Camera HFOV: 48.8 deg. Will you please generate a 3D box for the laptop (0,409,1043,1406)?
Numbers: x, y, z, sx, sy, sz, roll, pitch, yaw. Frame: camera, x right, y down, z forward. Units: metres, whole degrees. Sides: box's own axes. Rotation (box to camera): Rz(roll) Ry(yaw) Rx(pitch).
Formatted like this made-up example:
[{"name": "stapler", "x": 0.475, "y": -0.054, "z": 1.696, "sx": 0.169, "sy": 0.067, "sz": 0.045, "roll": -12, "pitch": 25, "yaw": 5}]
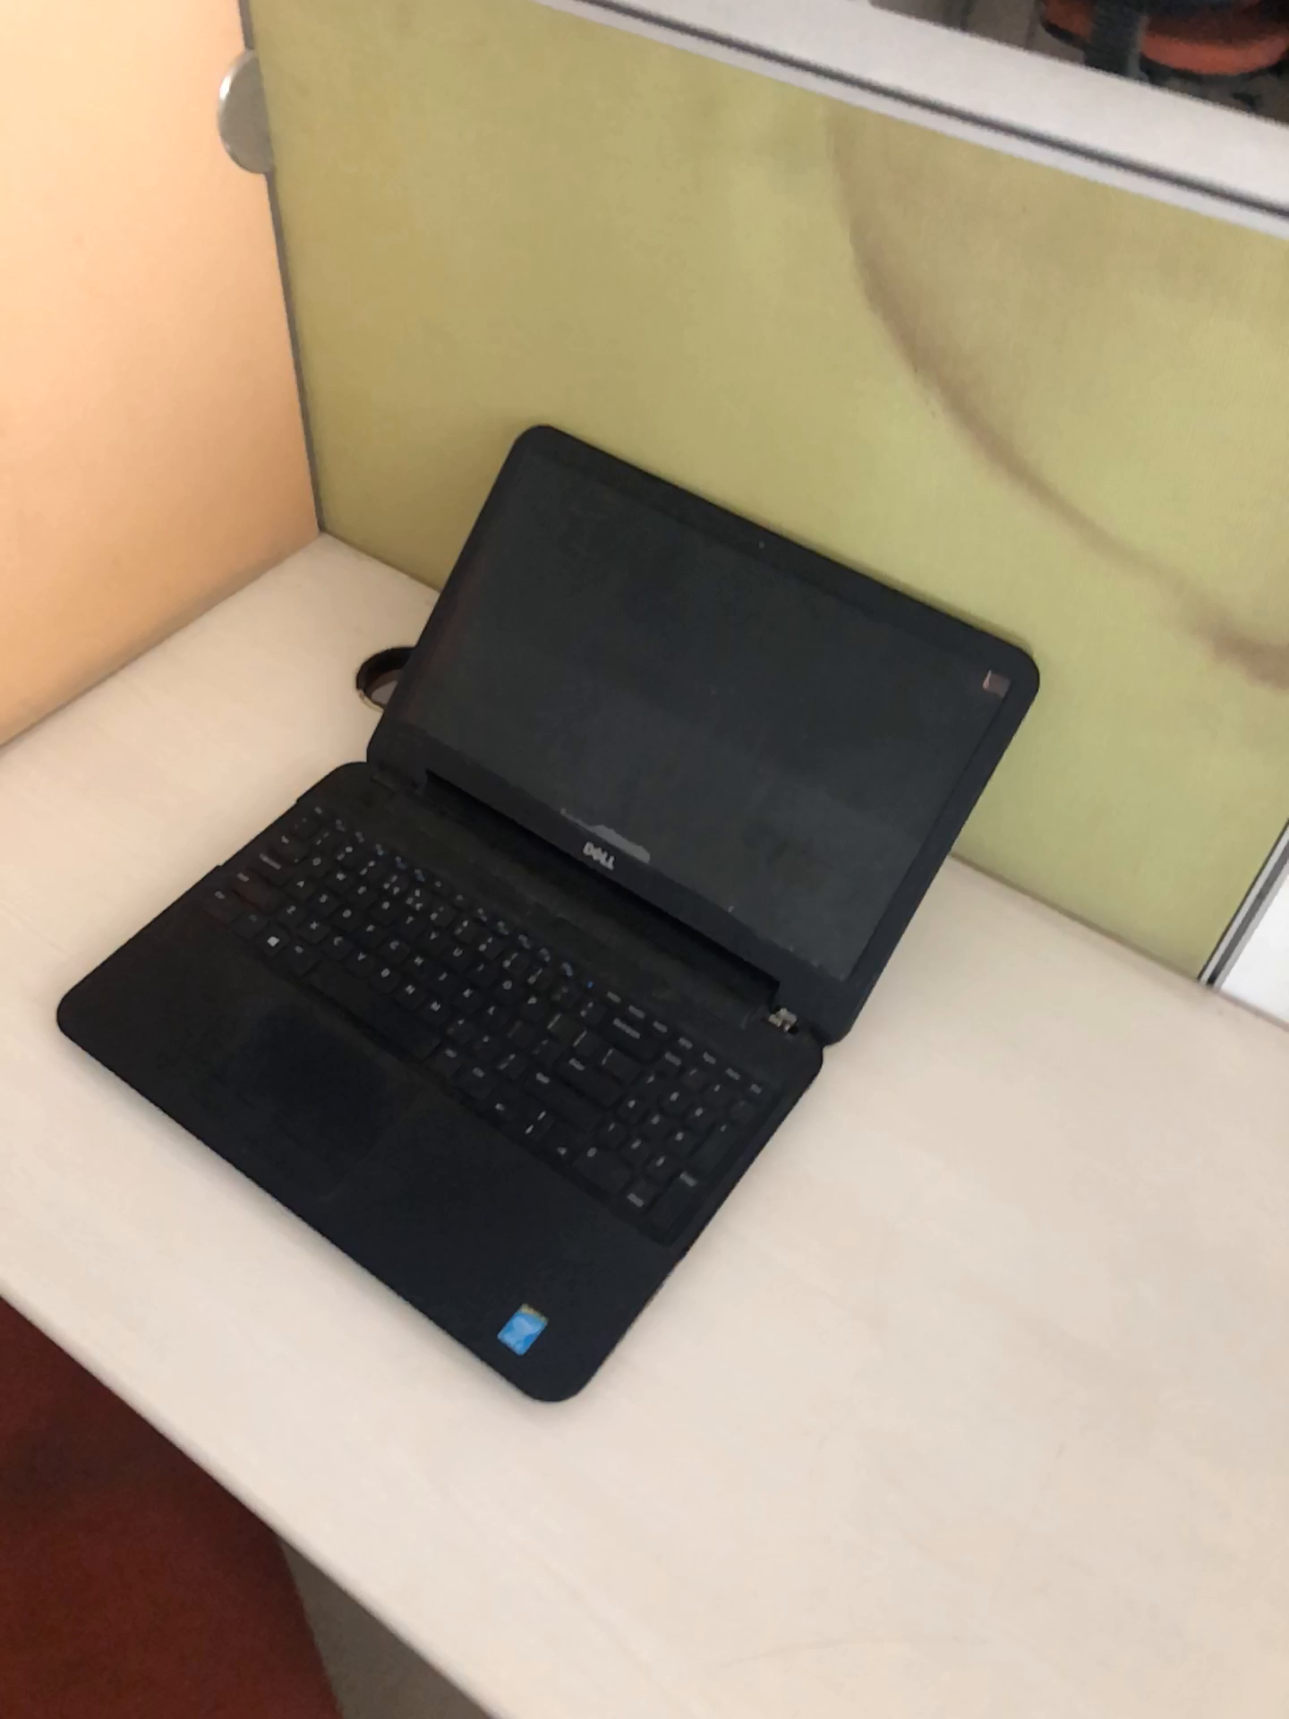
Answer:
[{"name": "laptop", "x": -0.057, "y": -0.014, "z": 0.776, "sx": 0.356, "sy": 0.158, "sz": 0.428, "roll": 30, "pitch": 56, "yaw": 20}]
